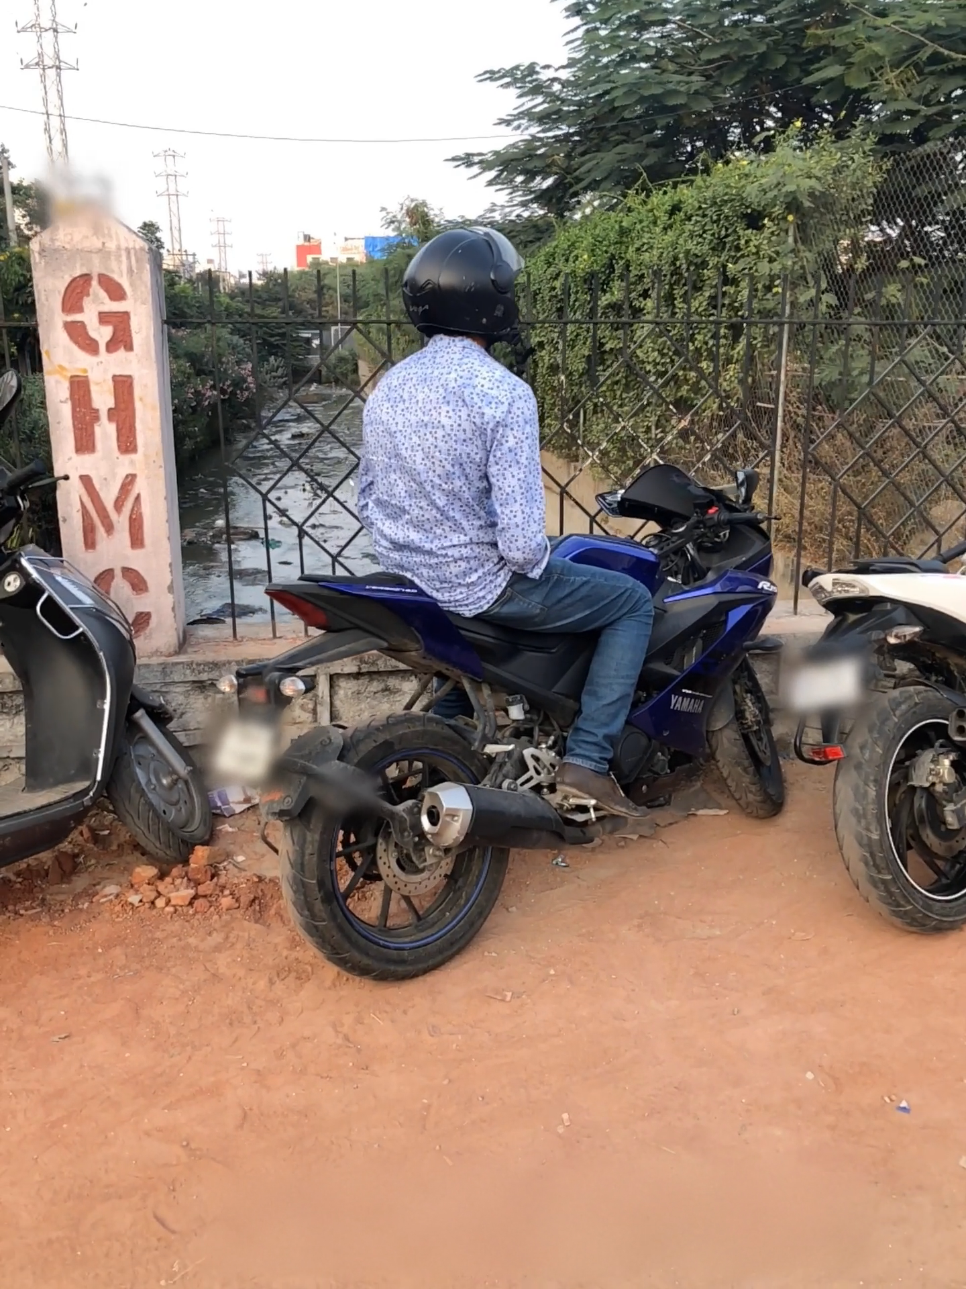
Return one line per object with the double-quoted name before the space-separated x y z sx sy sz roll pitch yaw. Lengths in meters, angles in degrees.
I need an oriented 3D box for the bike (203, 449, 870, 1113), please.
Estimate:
"bike" 0.289 0.114 2.877 0.731 0.996 1.950 12 22 38
